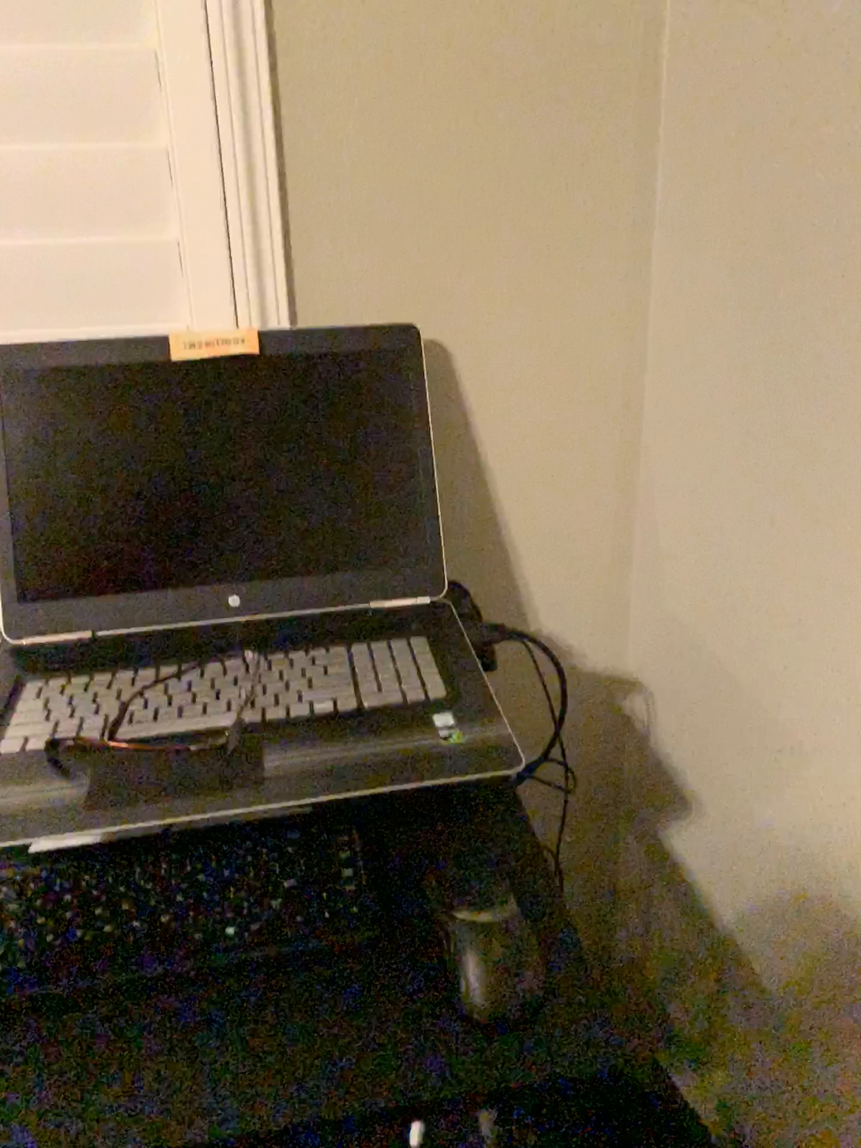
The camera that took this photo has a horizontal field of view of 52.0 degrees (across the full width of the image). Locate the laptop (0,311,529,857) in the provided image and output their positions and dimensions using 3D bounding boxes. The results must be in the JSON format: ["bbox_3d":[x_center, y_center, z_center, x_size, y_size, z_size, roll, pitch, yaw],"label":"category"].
[{"bbox_3d":[-0.184,-0.046,0.764,0.433,0.263,0.421,-6,24,-9],"label":"laptop"}]
